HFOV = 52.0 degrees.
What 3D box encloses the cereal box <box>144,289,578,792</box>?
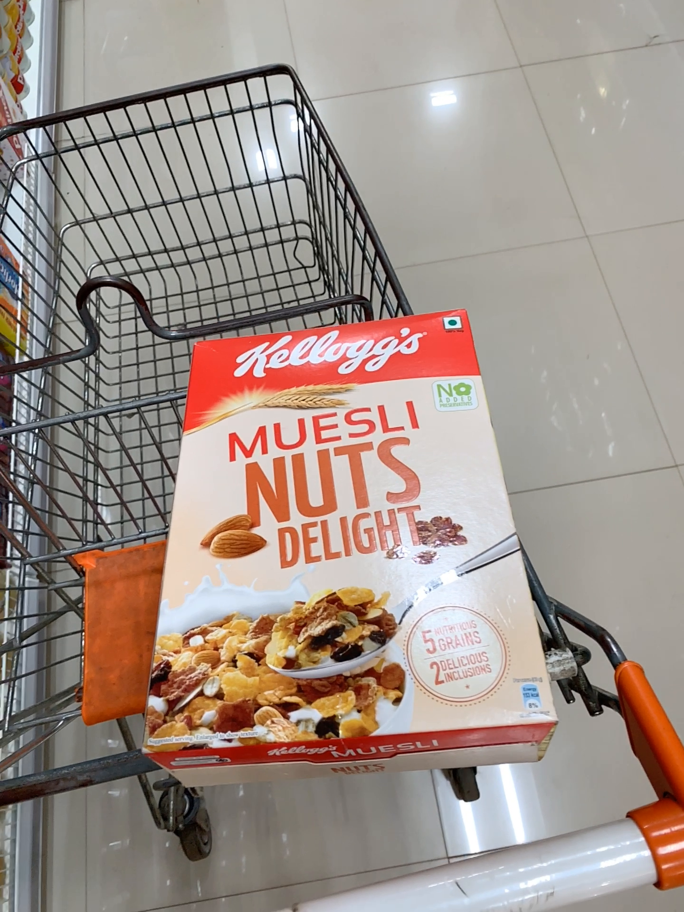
[{"bbox_3d":[0.001,0.036,0.415,0.190,0.080,0.271,-6,55,2],"label":"cereal box"}]
